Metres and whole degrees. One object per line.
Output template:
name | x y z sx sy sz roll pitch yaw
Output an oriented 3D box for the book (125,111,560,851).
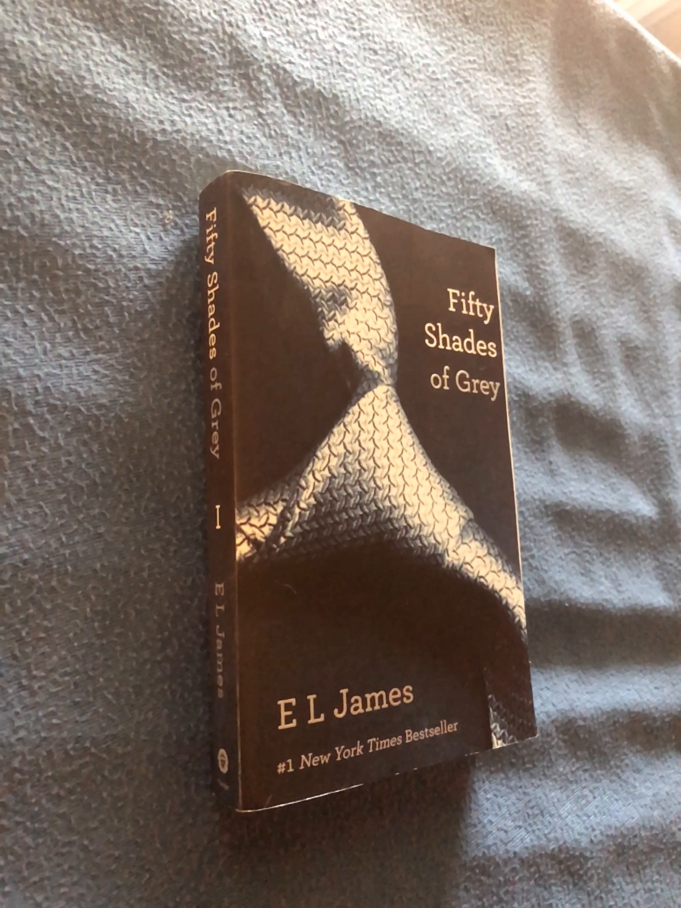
book | 0.004 0.006 0.273 0.150 0.040 0.210 3 79 -37
